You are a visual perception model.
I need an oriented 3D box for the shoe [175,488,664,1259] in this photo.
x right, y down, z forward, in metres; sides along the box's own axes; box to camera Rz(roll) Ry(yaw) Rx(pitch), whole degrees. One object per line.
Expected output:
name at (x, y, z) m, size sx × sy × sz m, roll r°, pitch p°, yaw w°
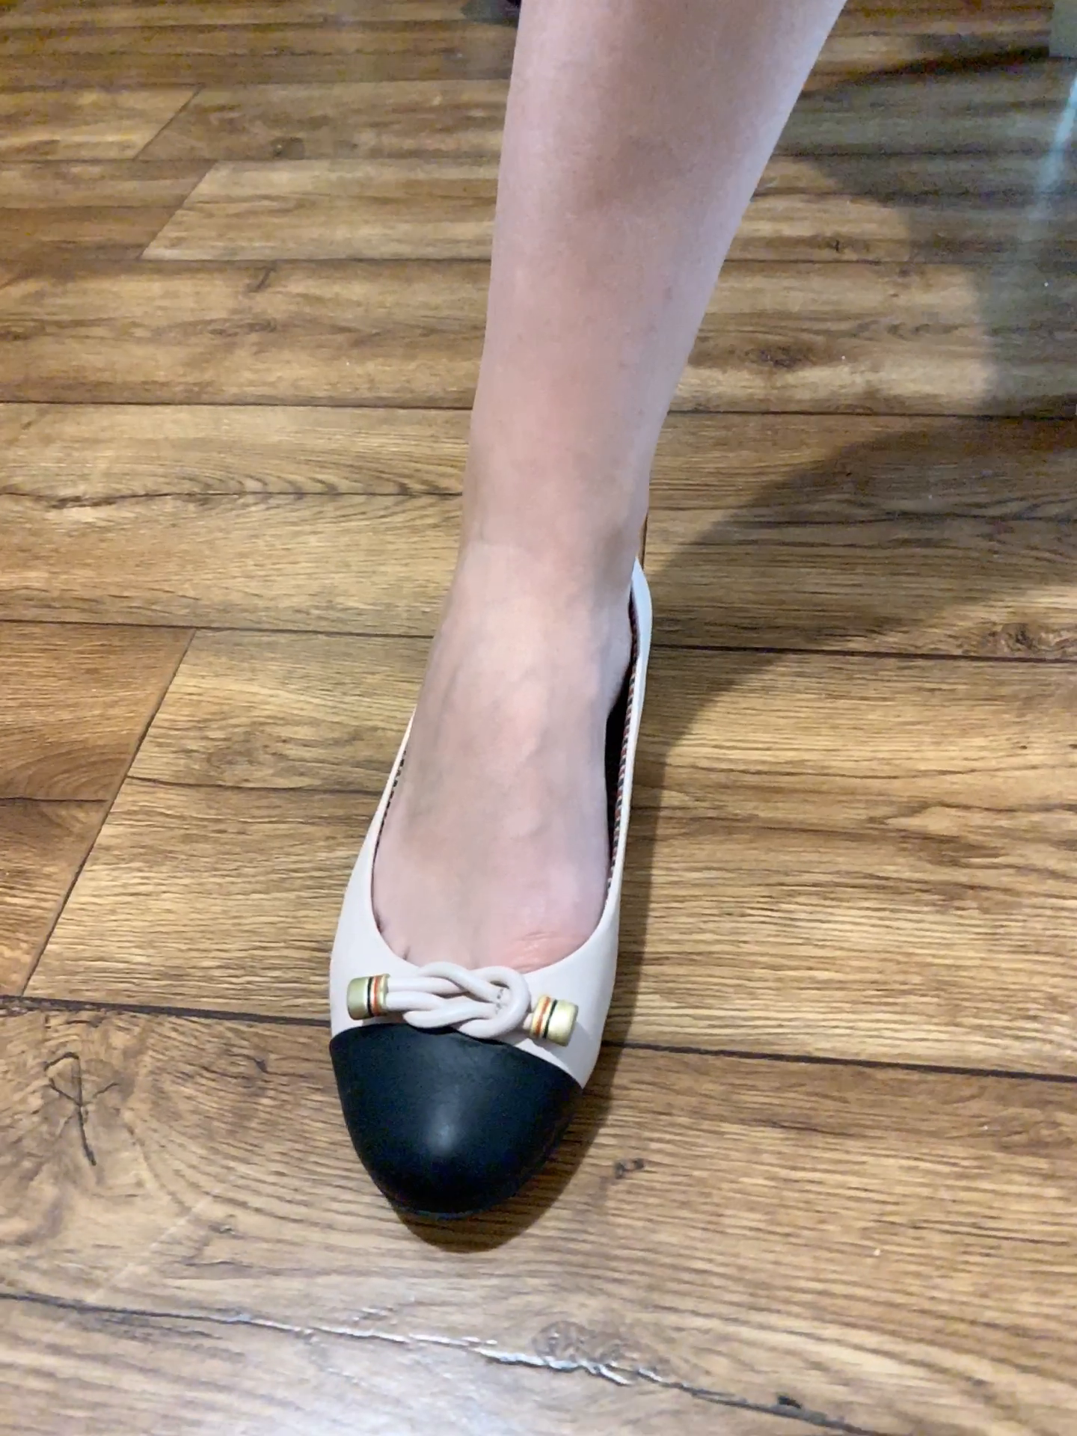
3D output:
shoe at (-0.015, 0.024, 0.320) m, size 0.083 × 0.059 × 0.221 m, roll 5°, pitch 47°, yaw 8°
